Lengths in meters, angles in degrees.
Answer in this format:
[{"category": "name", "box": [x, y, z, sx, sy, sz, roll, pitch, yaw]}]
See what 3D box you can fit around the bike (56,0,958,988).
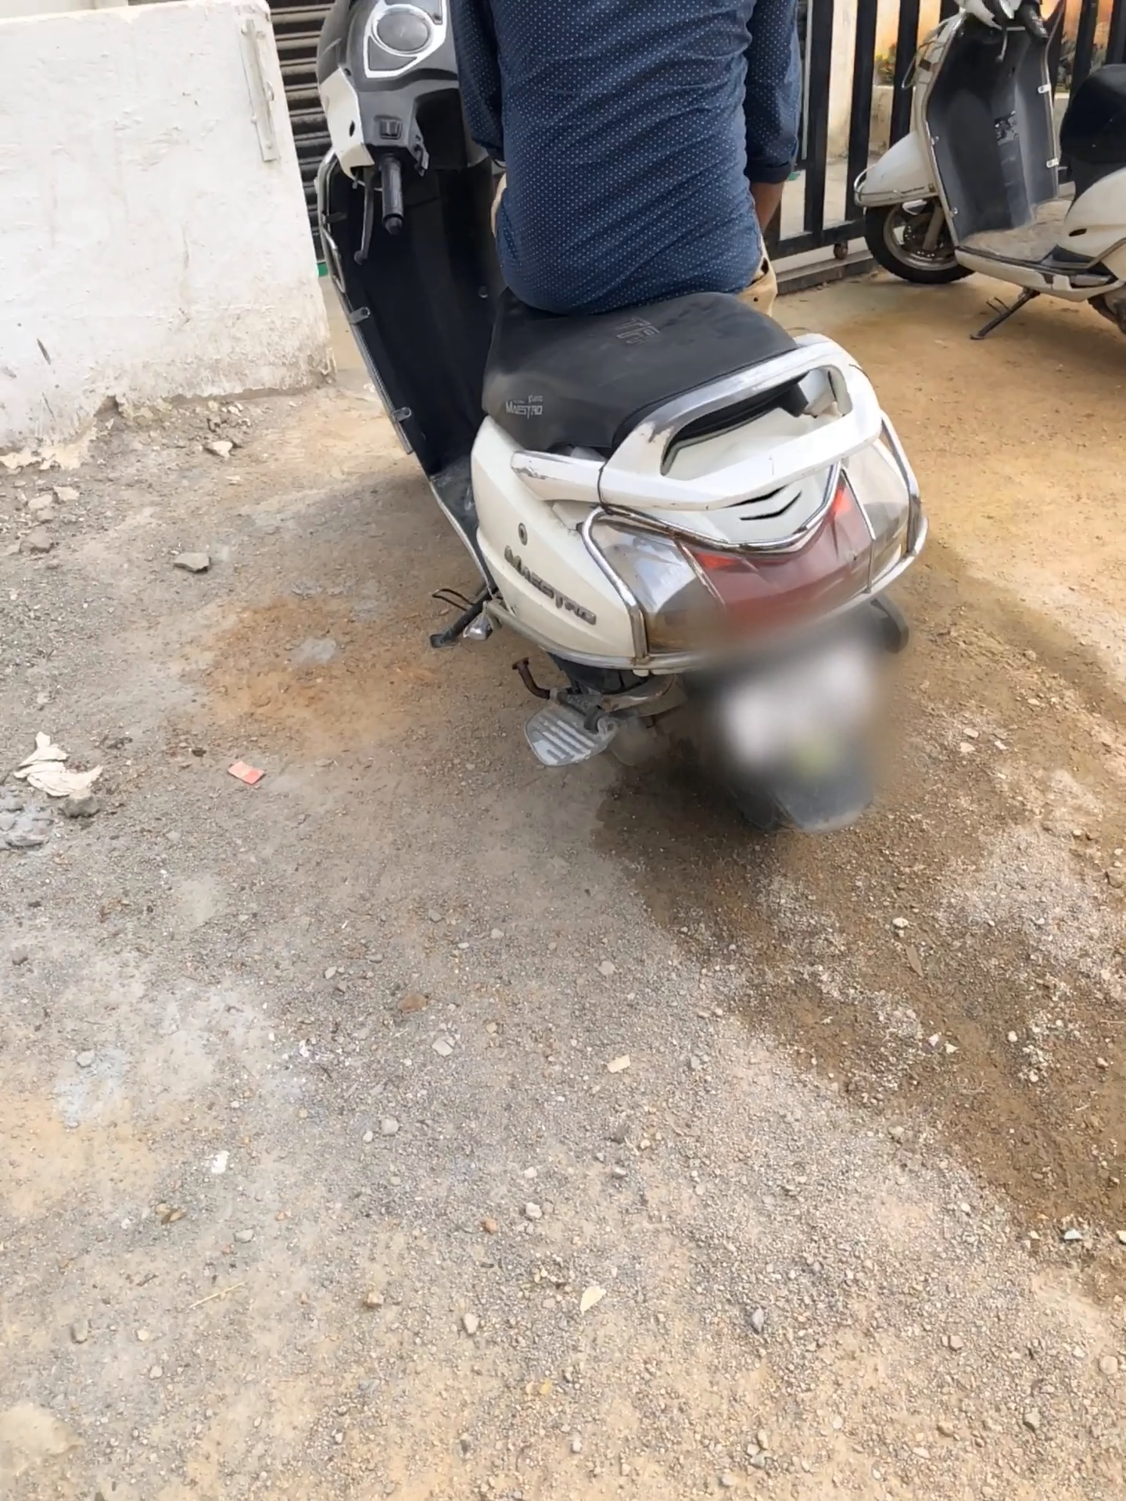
[{"category": "bike", "box": [-0.197, -0.713, 2.029, 0.601, 1.231, 1.560, -18, 41, -20]}]
